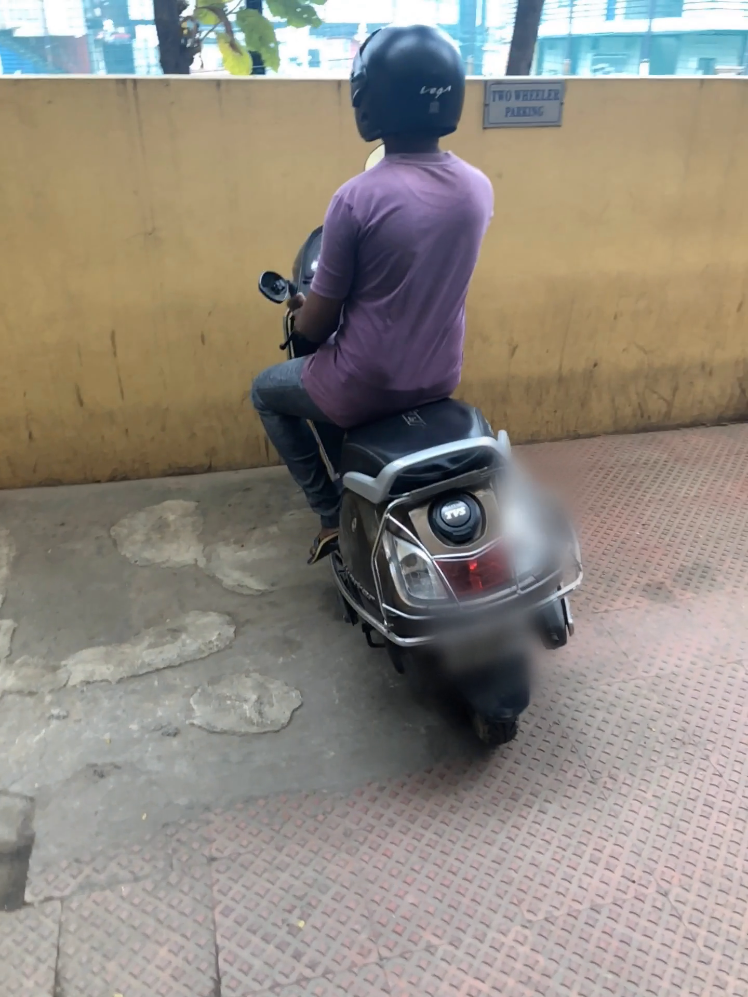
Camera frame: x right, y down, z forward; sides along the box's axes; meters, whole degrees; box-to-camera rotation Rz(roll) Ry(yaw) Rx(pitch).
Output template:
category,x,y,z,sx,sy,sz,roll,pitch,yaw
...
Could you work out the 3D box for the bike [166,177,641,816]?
category,x,y,z,sx,sy,sz,roll,pitch,yaw
bike,-0.115,-0.203,2.410,0.644,1.182,1.723,-9,29,-16
